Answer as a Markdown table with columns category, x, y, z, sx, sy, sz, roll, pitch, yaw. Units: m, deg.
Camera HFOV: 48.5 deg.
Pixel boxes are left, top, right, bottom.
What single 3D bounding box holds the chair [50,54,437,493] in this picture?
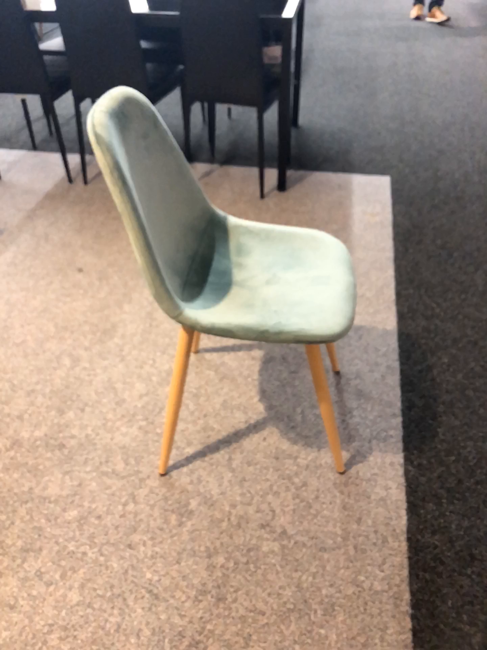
| category | x | y | z | sx | sy | sz | roll | pitch | yaw |
| --- | --- | --- | --- | --- | --- | --- | --- | --- | --- |
| chair | 0.017 | -0.089 | 1.211 | 0.550 | 0.835 | 0.473 | 2 | 39 | 4 |
